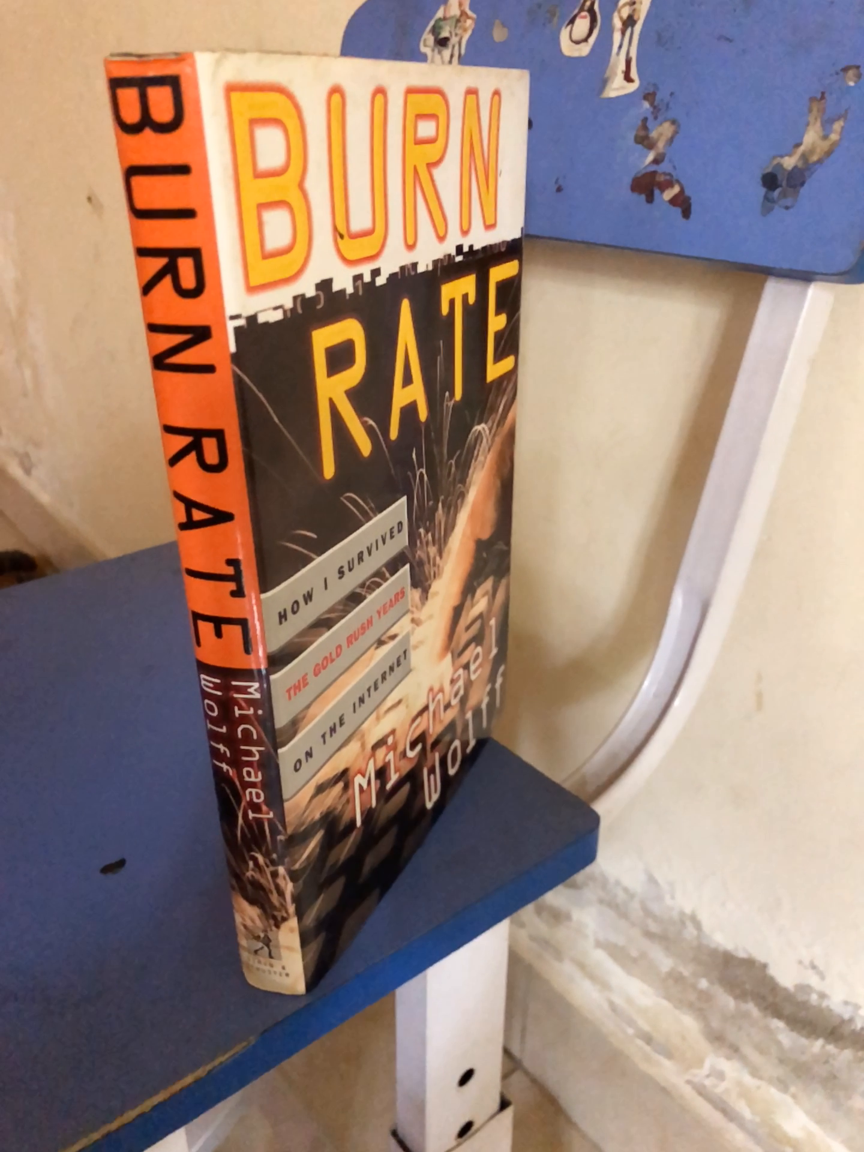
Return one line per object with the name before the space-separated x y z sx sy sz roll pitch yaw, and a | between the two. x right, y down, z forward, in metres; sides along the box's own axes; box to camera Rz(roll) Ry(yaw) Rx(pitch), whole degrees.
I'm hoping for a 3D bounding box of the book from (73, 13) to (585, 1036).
book | -0.006 -0.027 0.303 0.040 0.239 0.201 10 26 22
